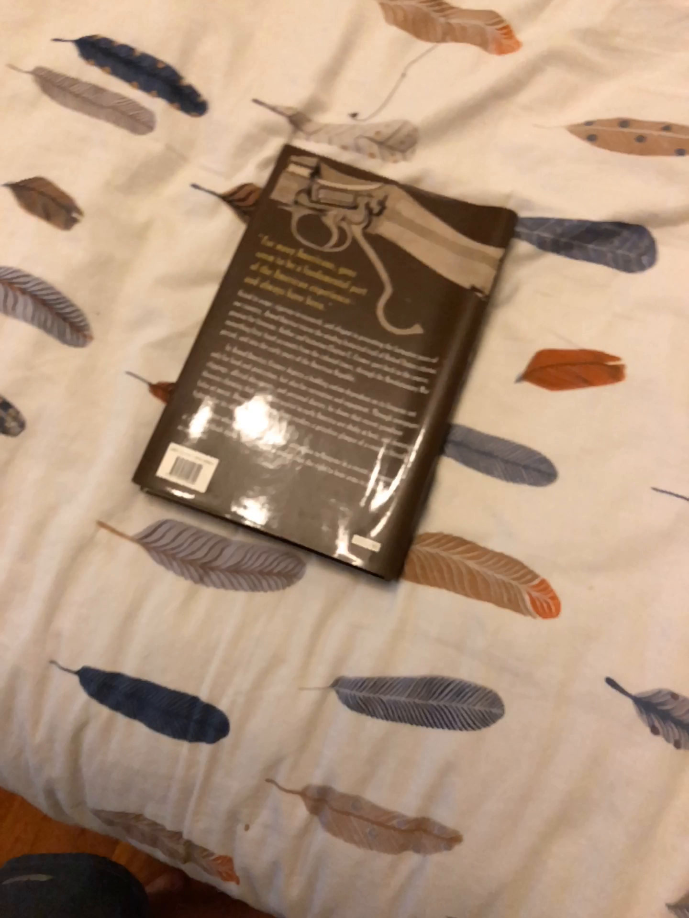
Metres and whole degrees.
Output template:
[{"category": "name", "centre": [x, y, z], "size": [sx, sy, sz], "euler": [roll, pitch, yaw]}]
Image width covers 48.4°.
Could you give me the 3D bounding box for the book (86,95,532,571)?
[{"category": "book", "centre": [-0.016, -0.080, 0.454], "size": [0.180, 0.030, 0.240], "euler": [20, 79, 7]}]
